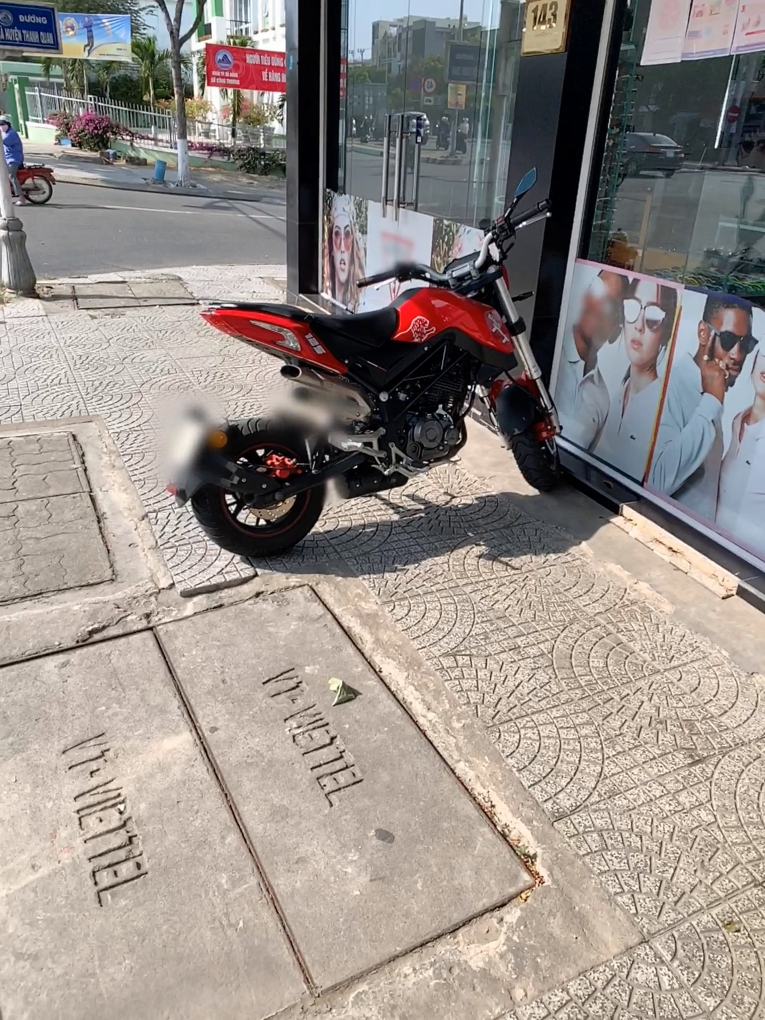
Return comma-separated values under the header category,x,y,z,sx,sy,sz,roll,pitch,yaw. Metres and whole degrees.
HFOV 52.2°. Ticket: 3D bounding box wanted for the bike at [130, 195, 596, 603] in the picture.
category,x,y,z,sx,sy,sz,roll,pitch,yaw
bike,0.019,-0.696,3.437,2.126,1.216,0.833,-21,34,-41
